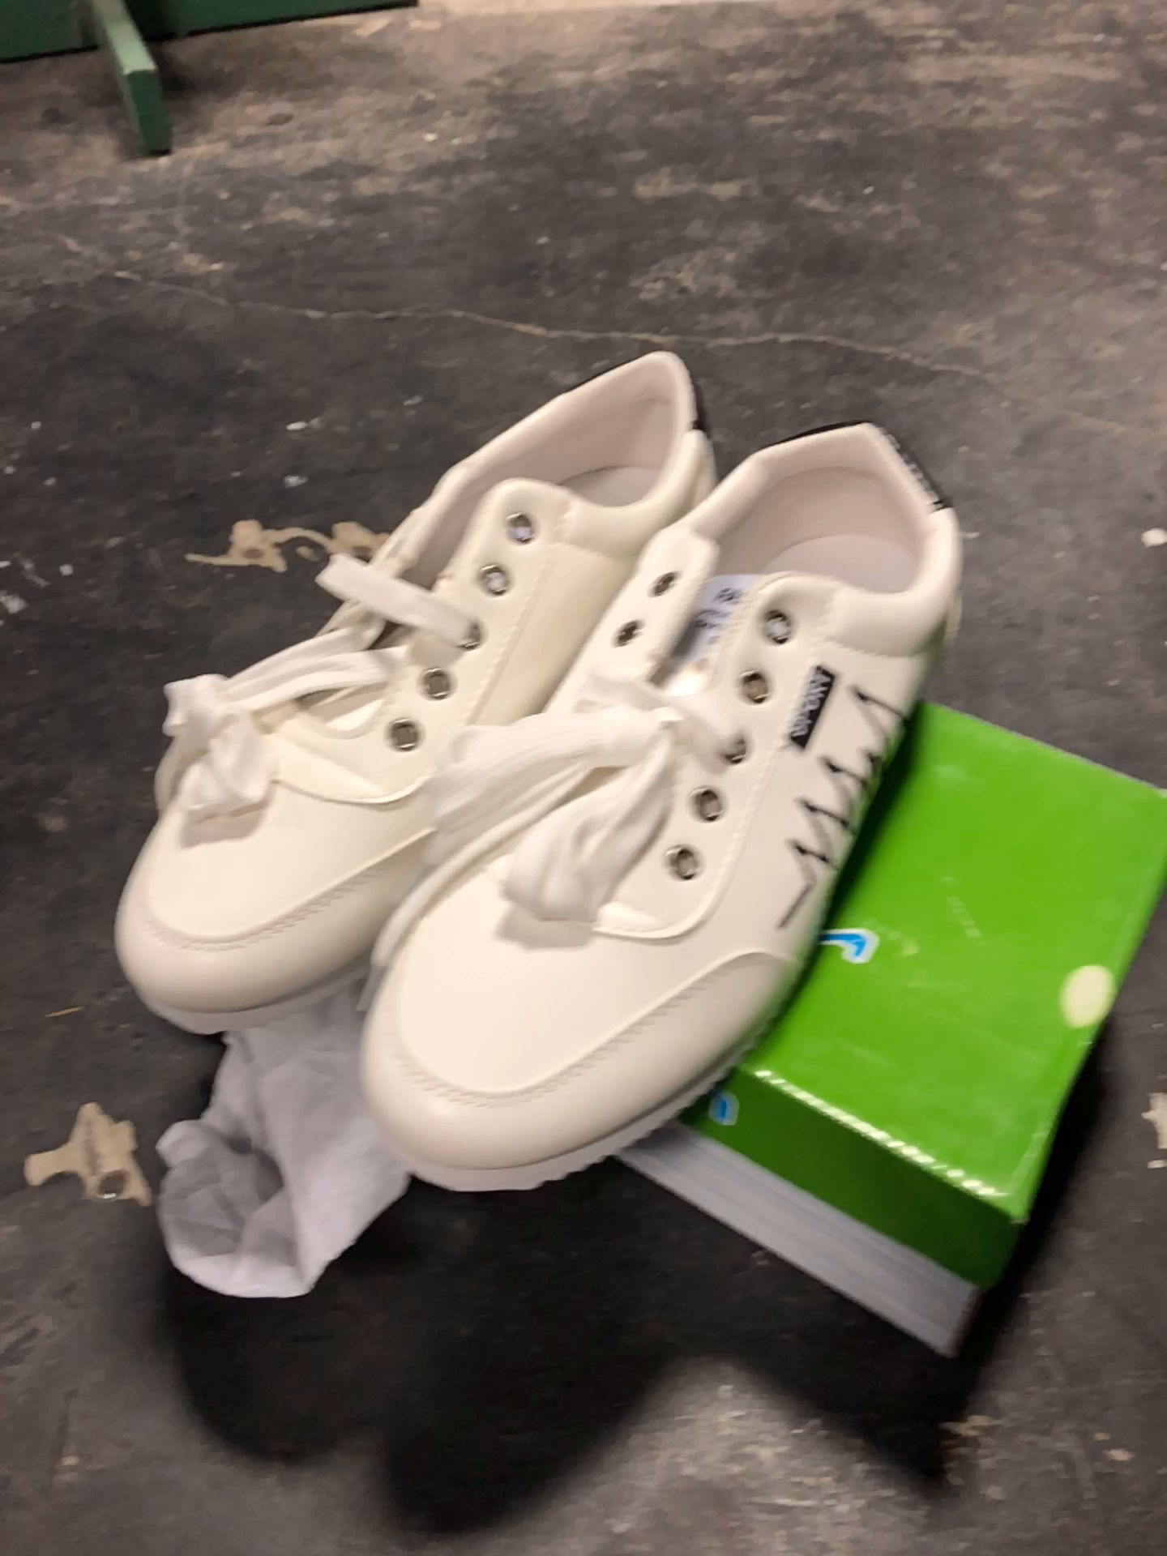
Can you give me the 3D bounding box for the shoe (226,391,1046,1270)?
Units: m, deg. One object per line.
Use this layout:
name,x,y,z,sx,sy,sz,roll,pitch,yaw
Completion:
shoe,0.038,-0.010,0.385,0.090,0.079,0.281,21,50,29

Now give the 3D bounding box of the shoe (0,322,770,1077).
shoe,-0.048,-0.048,0.421,0.090,0.079,0.281,21,50,29
